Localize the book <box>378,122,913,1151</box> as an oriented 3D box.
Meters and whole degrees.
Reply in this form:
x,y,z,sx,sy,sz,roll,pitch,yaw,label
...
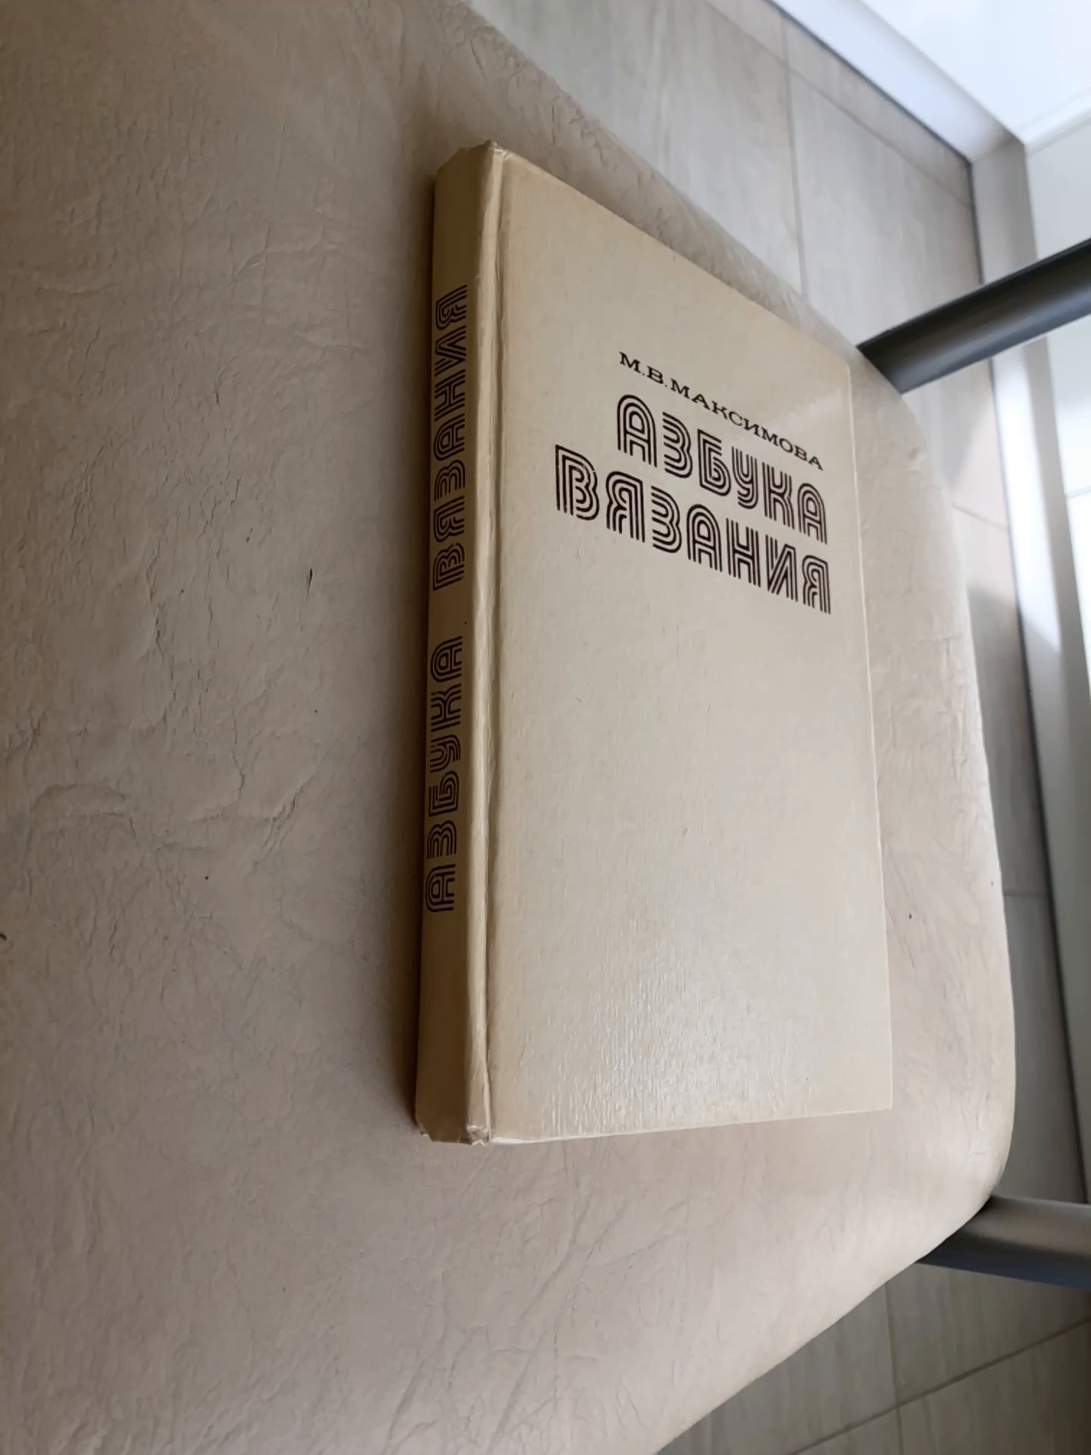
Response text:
x,y,z,sx,sy,sz,roll,pitch,yaw,label
0.032,-0.015,0.299,0.149,0.024,0.218,13,71,-40,book
